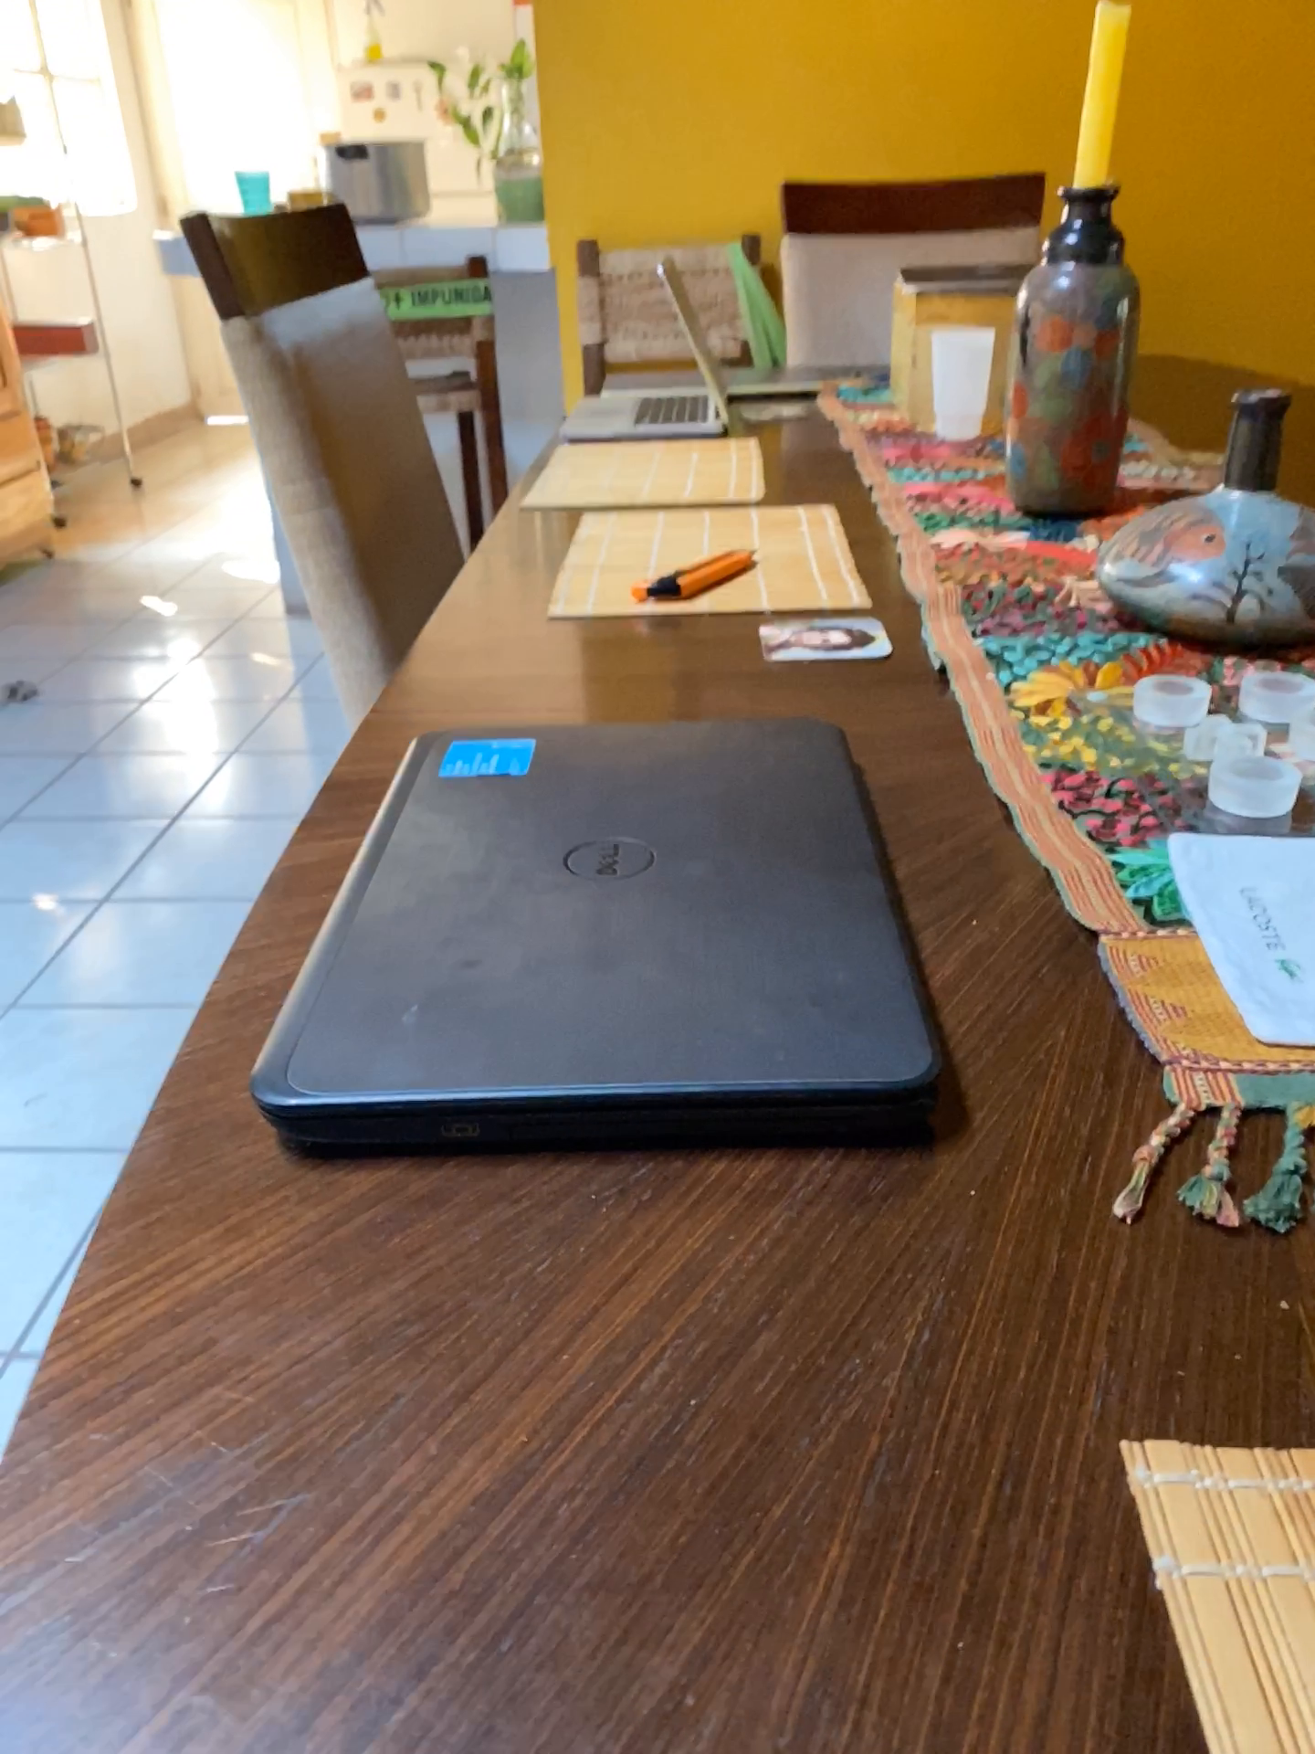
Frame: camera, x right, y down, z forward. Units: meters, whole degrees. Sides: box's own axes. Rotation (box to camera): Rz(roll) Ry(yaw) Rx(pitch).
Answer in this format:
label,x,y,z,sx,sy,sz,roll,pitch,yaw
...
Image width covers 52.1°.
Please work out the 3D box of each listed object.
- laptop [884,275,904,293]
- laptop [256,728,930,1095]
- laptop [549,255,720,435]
label,x,y,z,sx,sy,sz,roll,pitch,yaw
laptop,0.317,-0.796,1.807,0.002,0.003,0.281,-27,22,17
laptop,-0.023,-0.004,0.651,0.248,0.001,0.354,-1,28,1
laptop,-0.022,-0.754,1.897,0.216,0.194,0.320,-1,27,5
